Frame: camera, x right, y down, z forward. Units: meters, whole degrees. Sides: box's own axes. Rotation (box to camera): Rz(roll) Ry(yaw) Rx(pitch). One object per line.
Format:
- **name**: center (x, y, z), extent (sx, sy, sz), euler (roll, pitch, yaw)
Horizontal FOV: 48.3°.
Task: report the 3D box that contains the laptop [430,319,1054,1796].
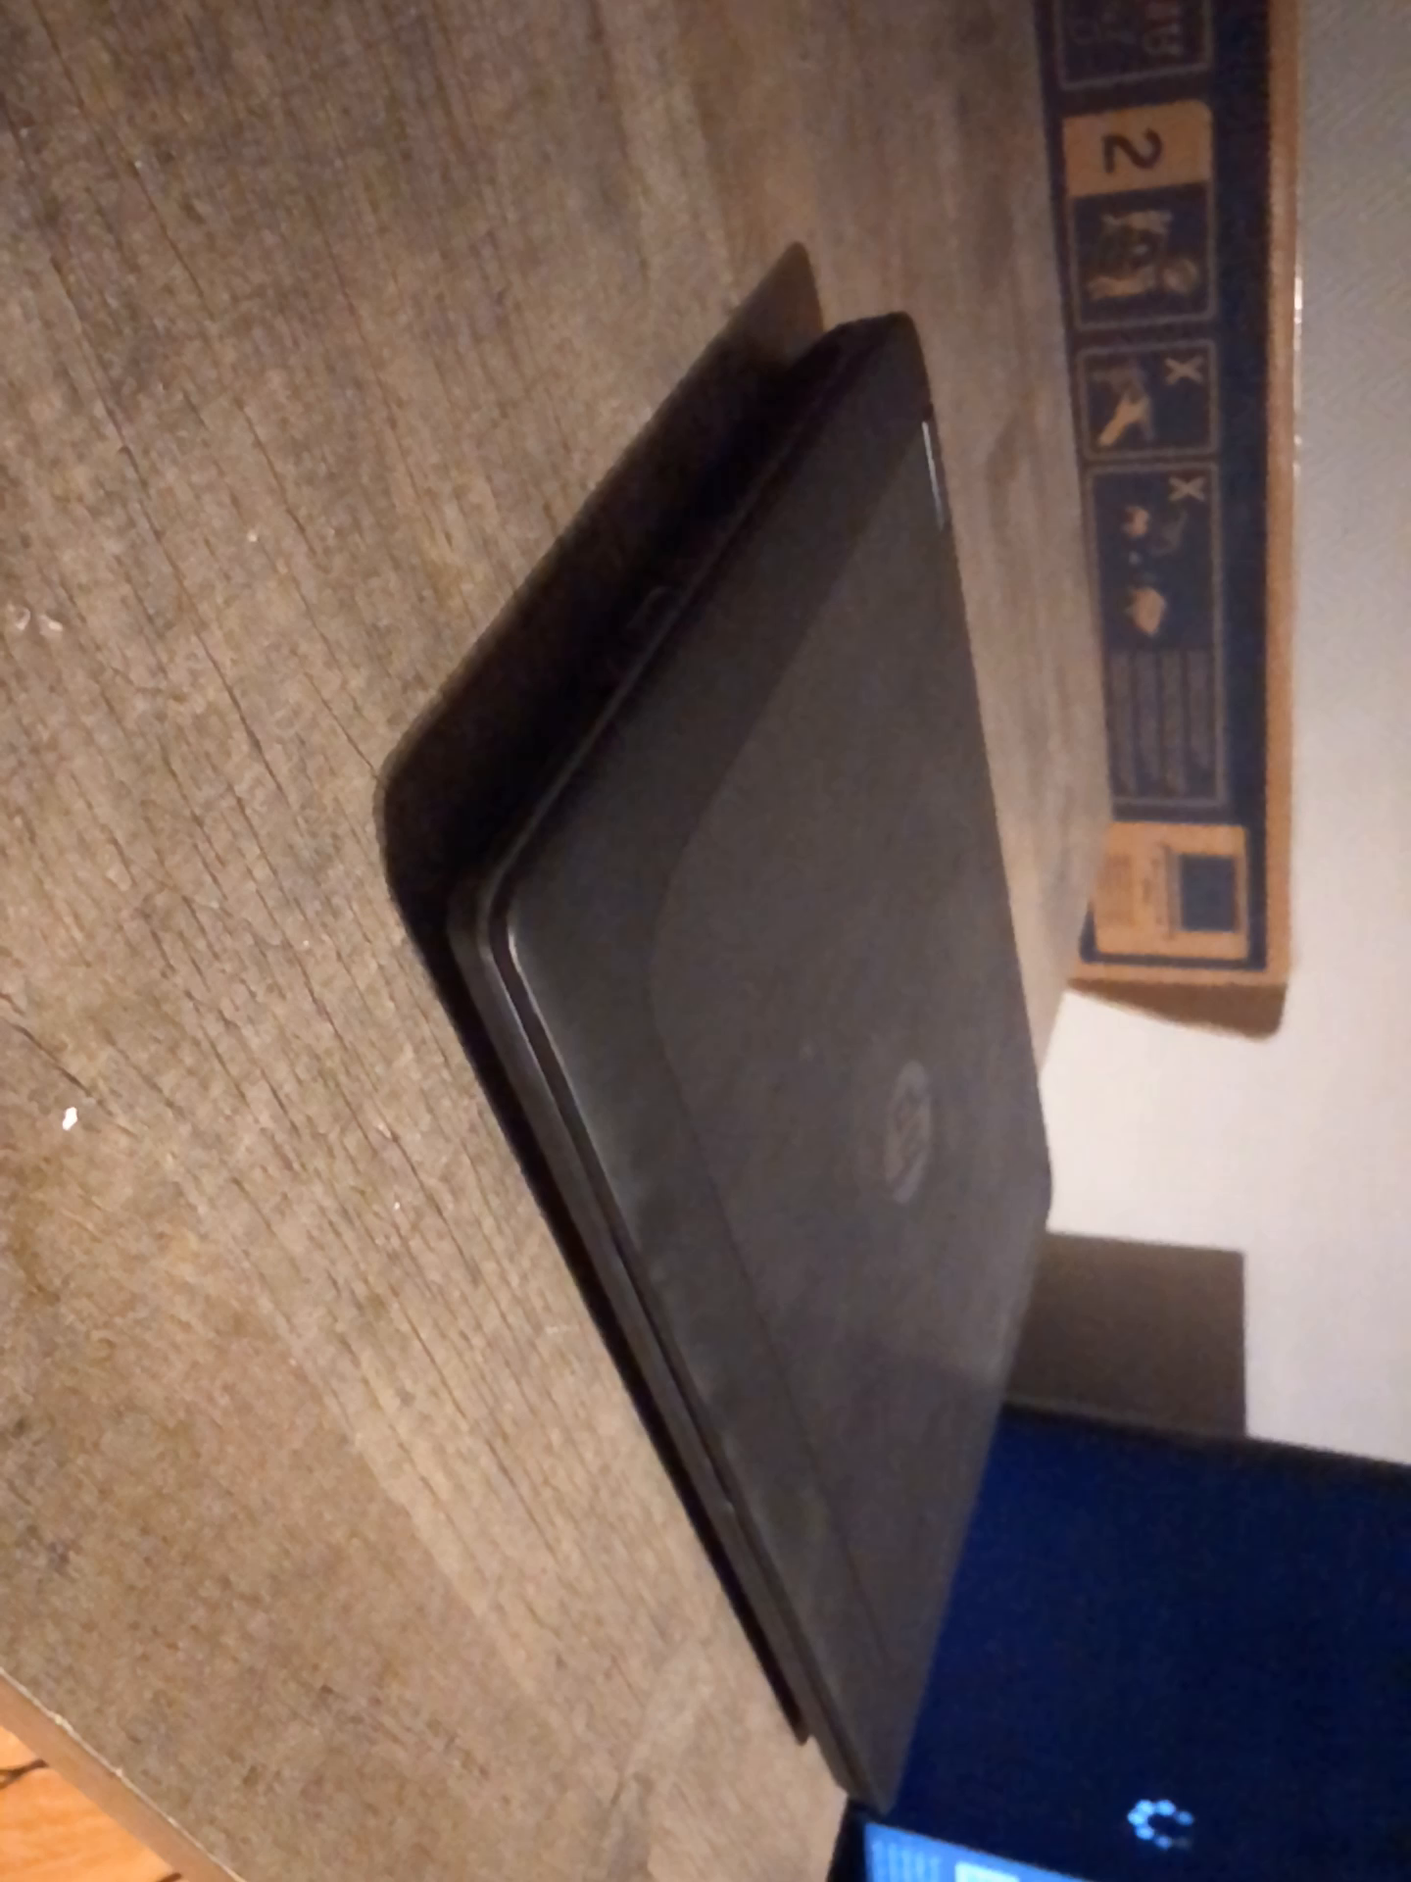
- **laptop**: center (0.049, 0.050, 0.455), extent (0.241, 0.017, 0.366), euler (-63, 146, -41)
